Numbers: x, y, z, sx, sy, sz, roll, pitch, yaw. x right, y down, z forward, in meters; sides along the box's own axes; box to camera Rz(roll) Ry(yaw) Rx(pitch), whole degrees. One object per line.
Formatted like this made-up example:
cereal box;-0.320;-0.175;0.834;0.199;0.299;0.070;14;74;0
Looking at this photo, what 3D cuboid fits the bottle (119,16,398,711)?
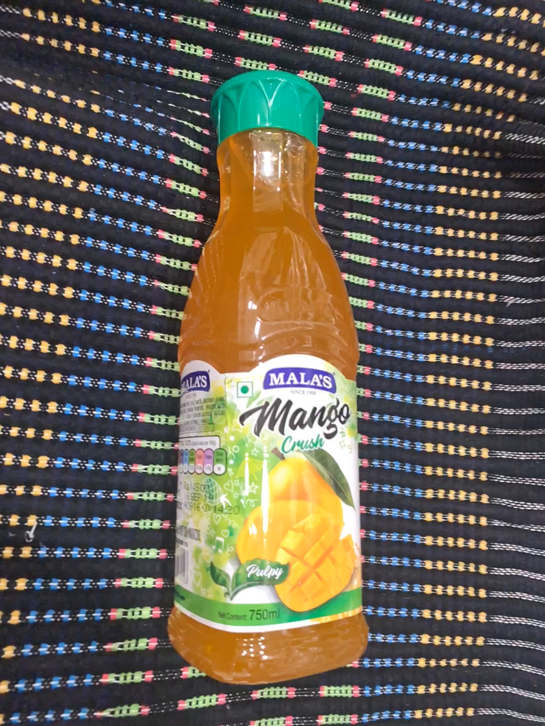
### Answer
bottle;-0.013;-0.003;0.248;0.080;0.090;0.240;5;77;-27
